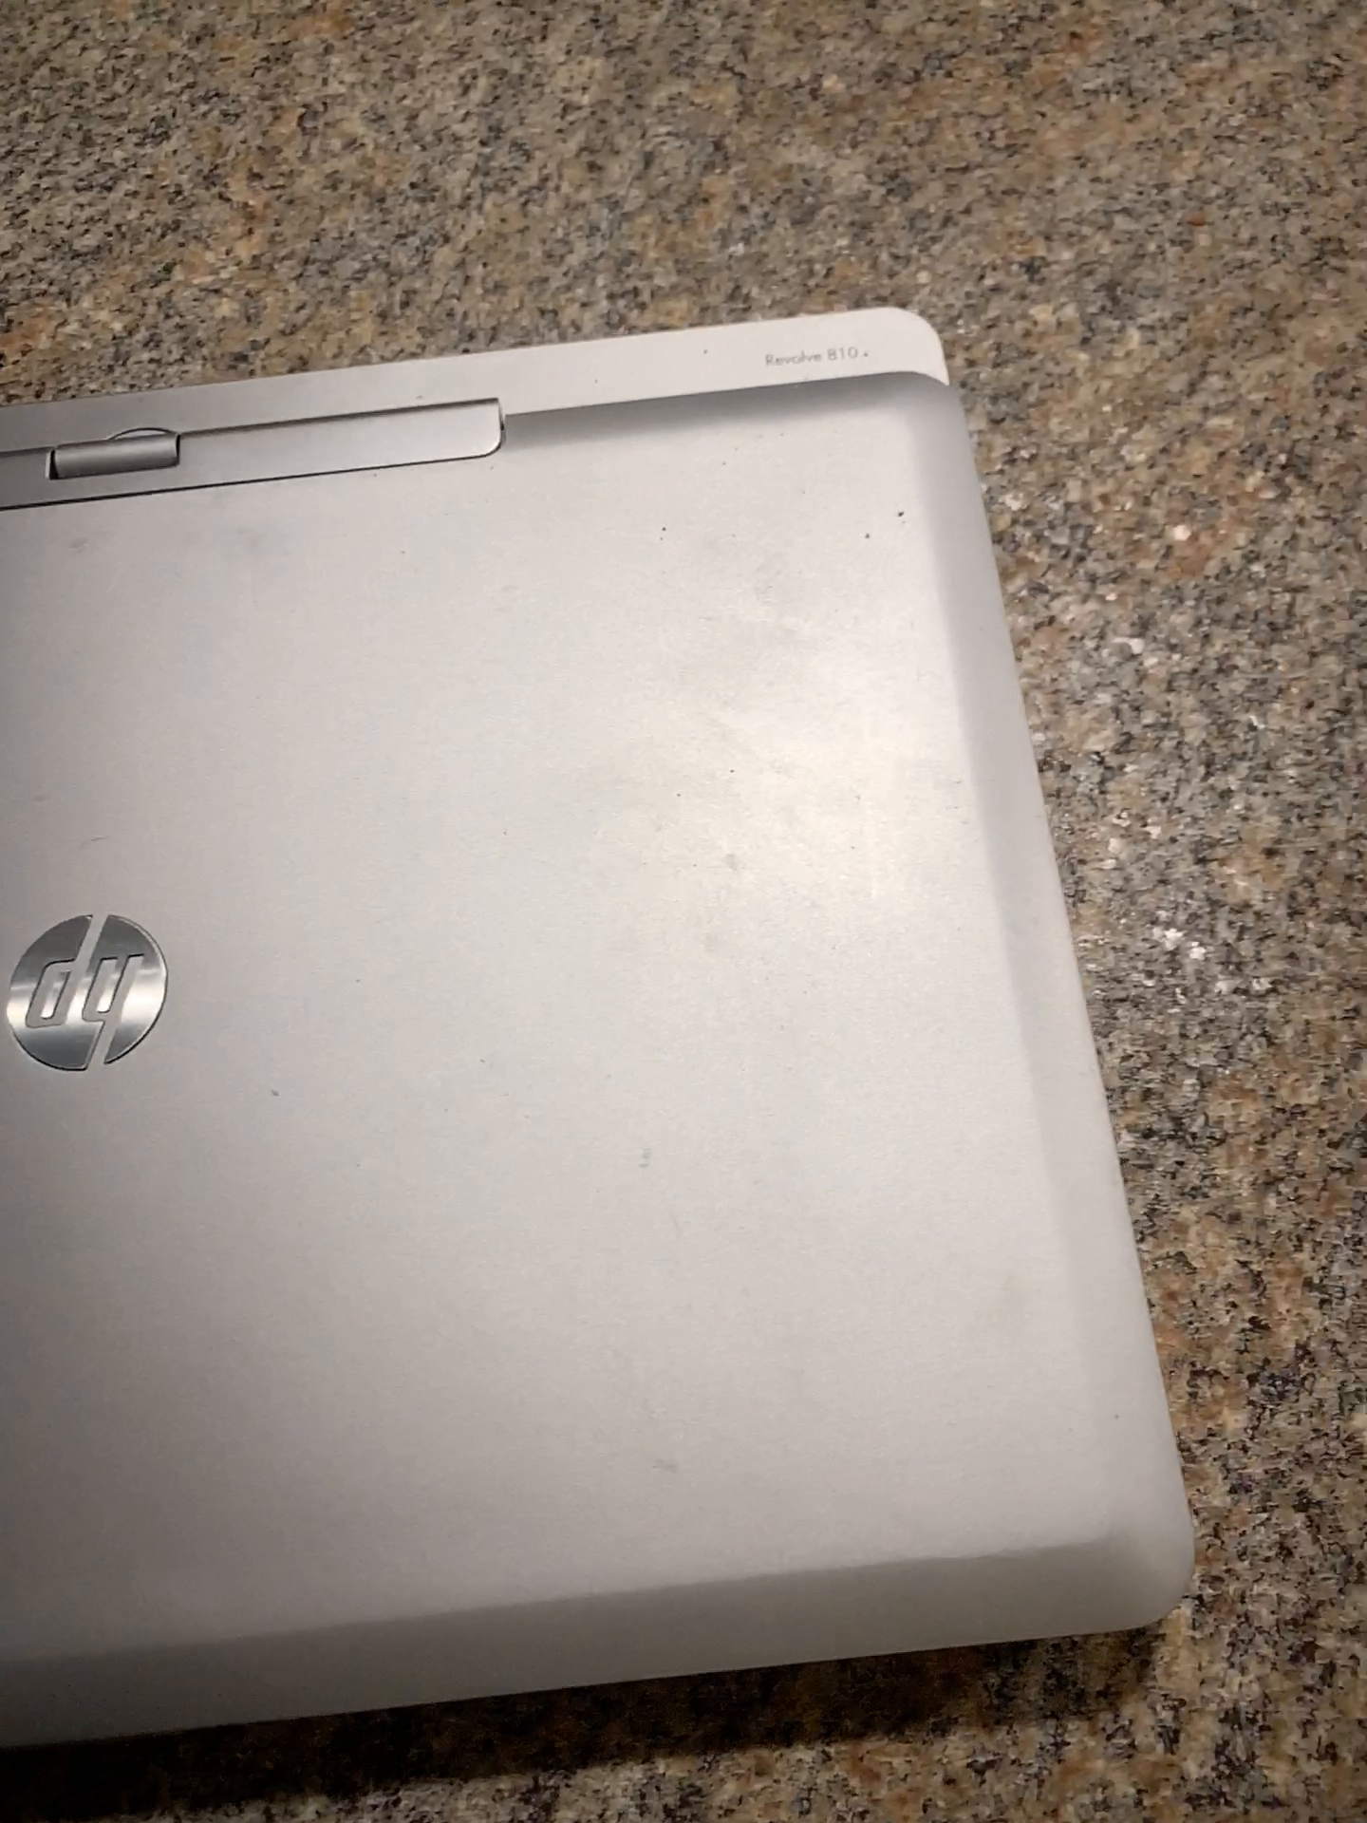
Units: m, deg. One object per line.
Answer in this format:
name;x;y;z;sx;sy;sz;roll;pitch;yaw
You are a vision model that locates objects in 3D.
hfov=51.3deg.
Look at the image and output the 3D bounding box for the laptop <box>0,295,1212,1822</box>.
laptop;-0.082;0.004;0.200;0.267;0.005;0.194;-6;68;0
